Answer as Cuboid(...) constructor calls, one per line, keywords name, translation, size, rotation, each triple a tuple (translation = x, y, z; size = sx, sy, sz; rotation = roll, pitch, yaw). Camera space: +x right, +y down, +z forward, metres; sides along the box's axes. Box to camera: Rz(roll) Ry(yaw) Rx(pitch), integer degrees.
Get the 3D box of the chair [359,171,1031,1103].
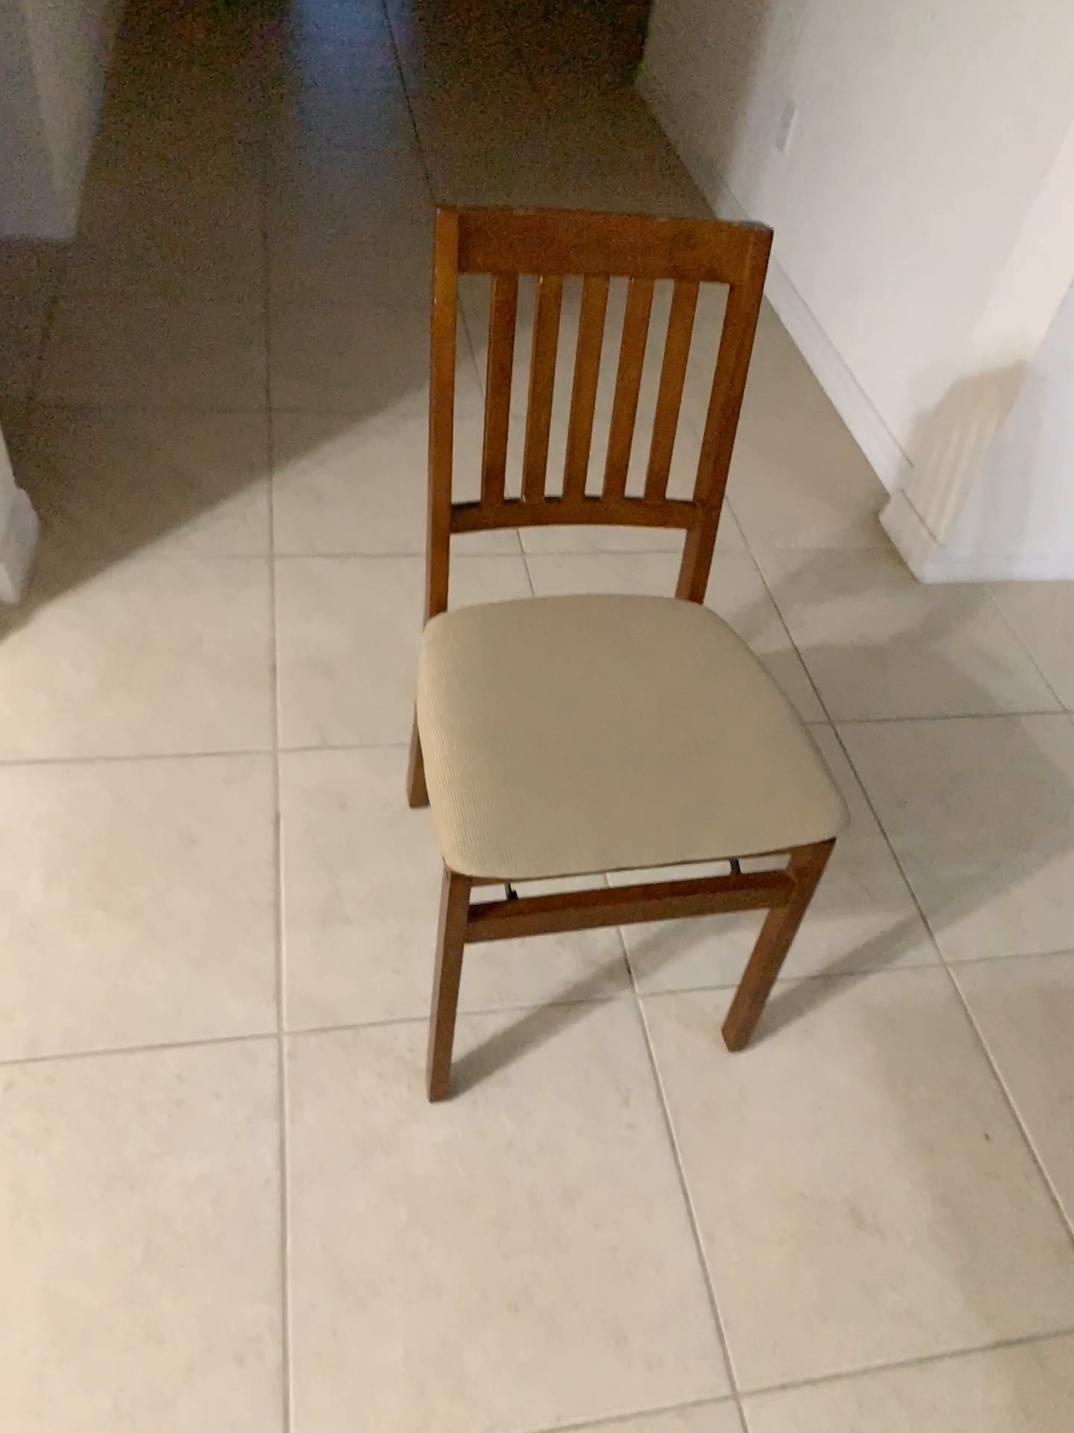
Cuboid(name="chair", translation=(0.042, -0.048, 1.284), size=(0.451, 0.881, 0.595), rotation=(-3, 48, -12))
